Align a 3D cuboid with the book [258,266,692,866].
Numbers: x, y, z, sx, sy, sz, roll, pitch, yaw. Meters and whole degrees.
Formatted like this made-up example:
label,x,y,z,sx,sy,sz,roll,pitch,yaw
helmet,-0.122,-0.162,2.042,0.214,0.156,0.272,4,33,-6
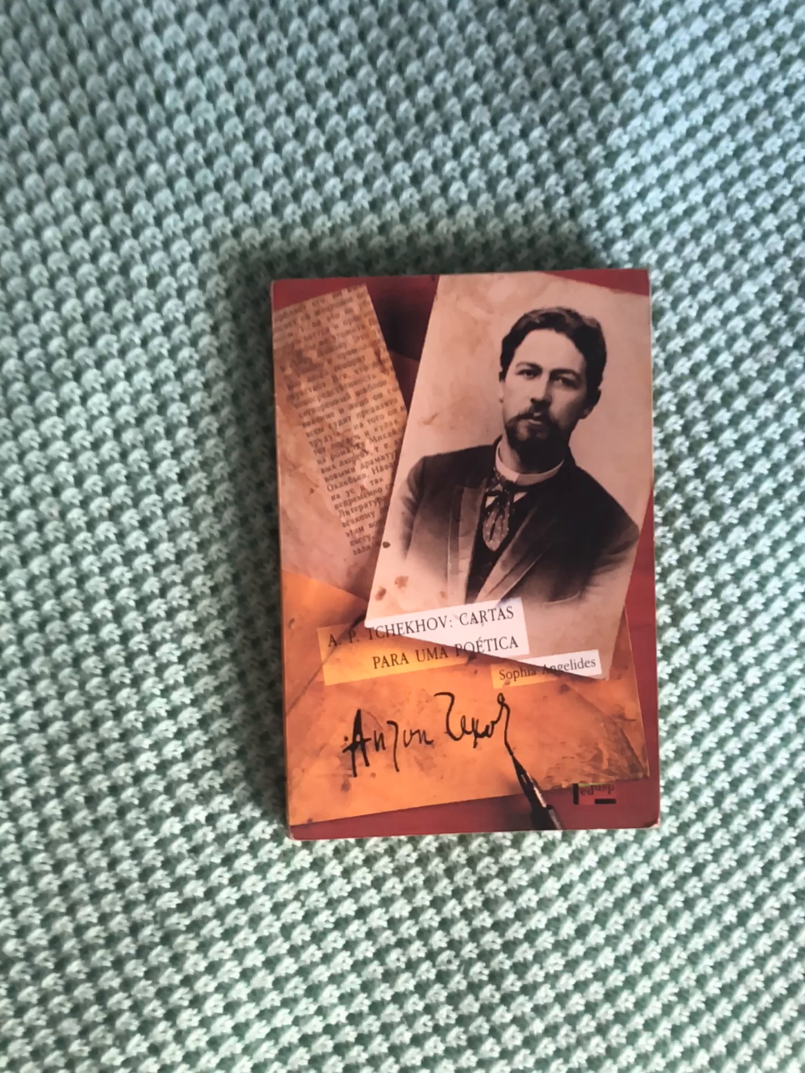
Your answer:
label,x,y,z,sx,sy,sz,roll,pitch,yaw
book,0.027,0.009,0.340,0.150,0.030,0.210,-3,92,-5
